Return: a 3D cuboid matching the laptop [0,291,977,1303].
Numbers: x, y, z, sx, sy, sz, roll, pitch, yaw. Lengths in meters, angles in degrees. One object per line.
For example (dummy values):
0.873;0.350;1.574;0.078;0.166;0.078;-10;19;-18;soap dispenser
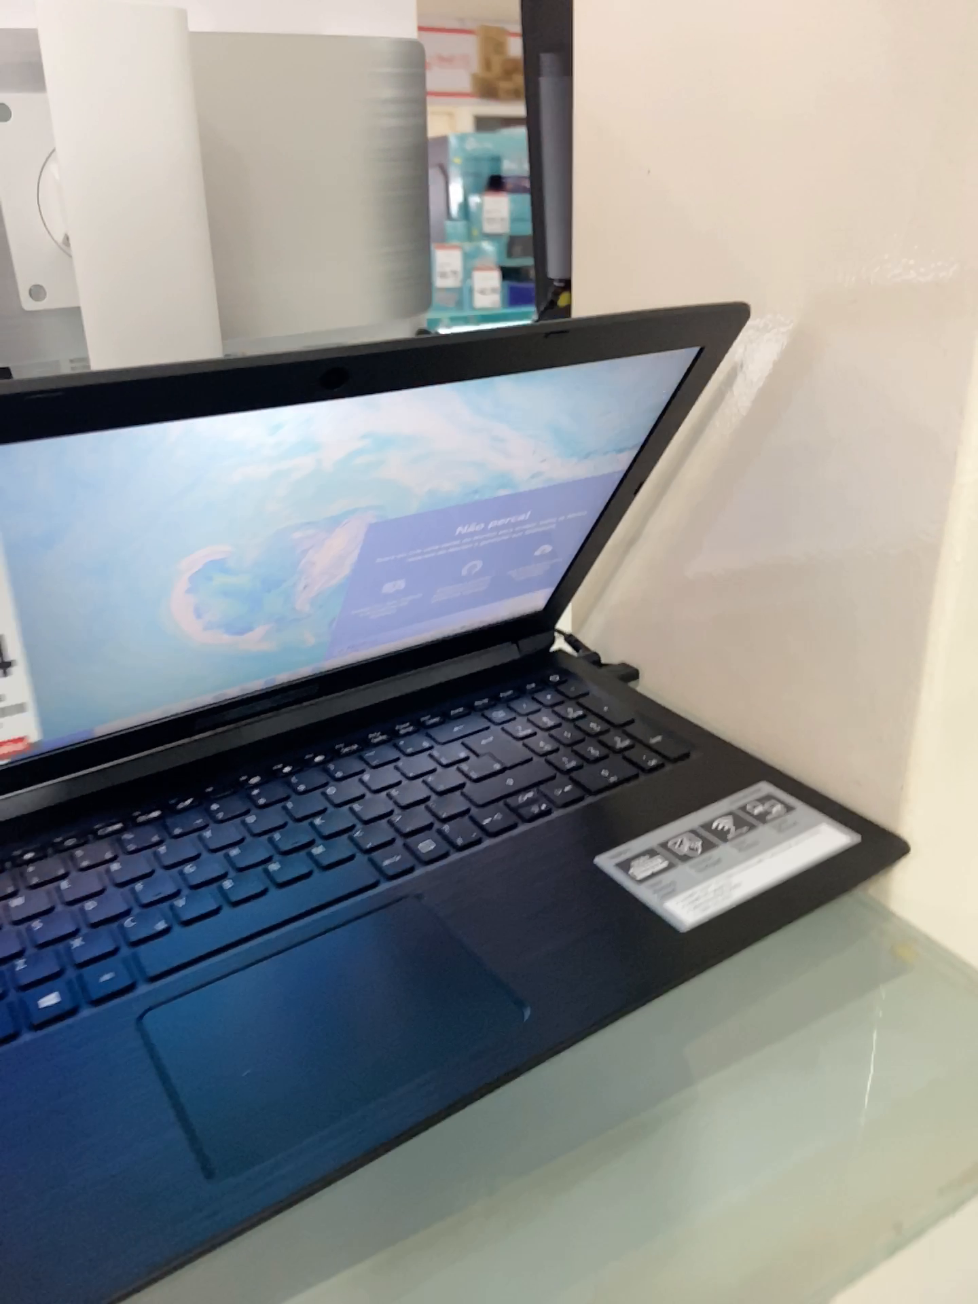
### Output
-0.054;-0.004;0.364;0.367;0.193;0.234;-17;28;-29;laptop
